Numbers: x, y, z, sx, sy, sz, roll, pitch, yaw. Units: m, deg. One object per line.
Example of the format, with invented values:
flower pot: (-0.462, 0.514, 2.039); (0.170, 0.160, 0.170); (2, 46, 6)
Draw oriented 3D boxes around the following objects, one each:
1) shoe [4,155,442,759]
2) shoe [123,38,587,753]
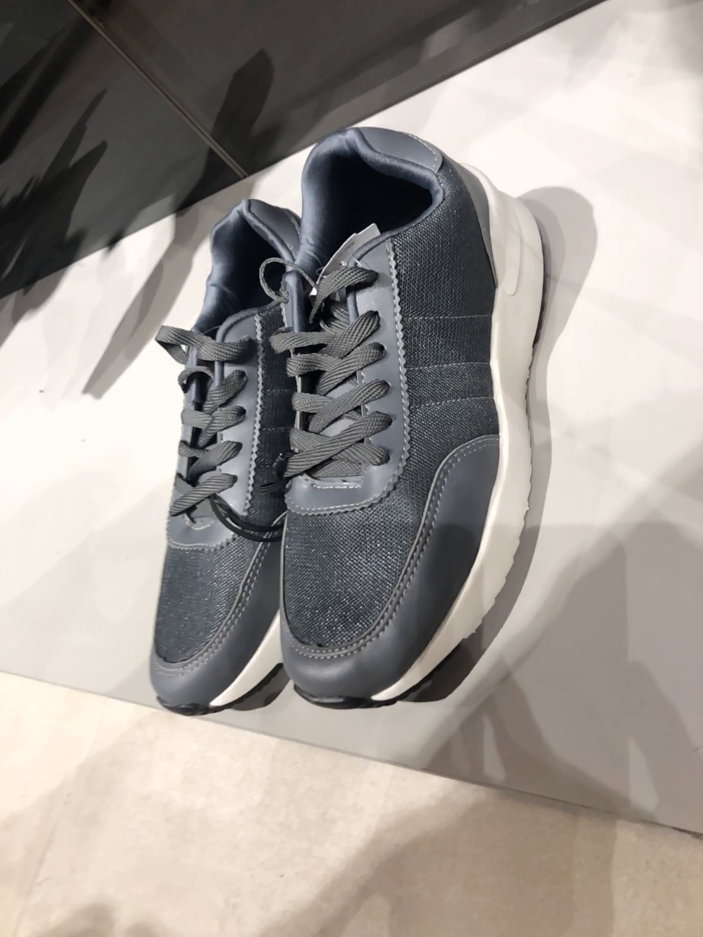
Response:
shoe: (-0.054, -0.011, 0.413); (0.111, 0.099, 0.280); (-7, 58, 42)
shoe: (0.018, -0.036, 0.348); (0.111, 0.099, 0.280); (-9, 56, 40)
